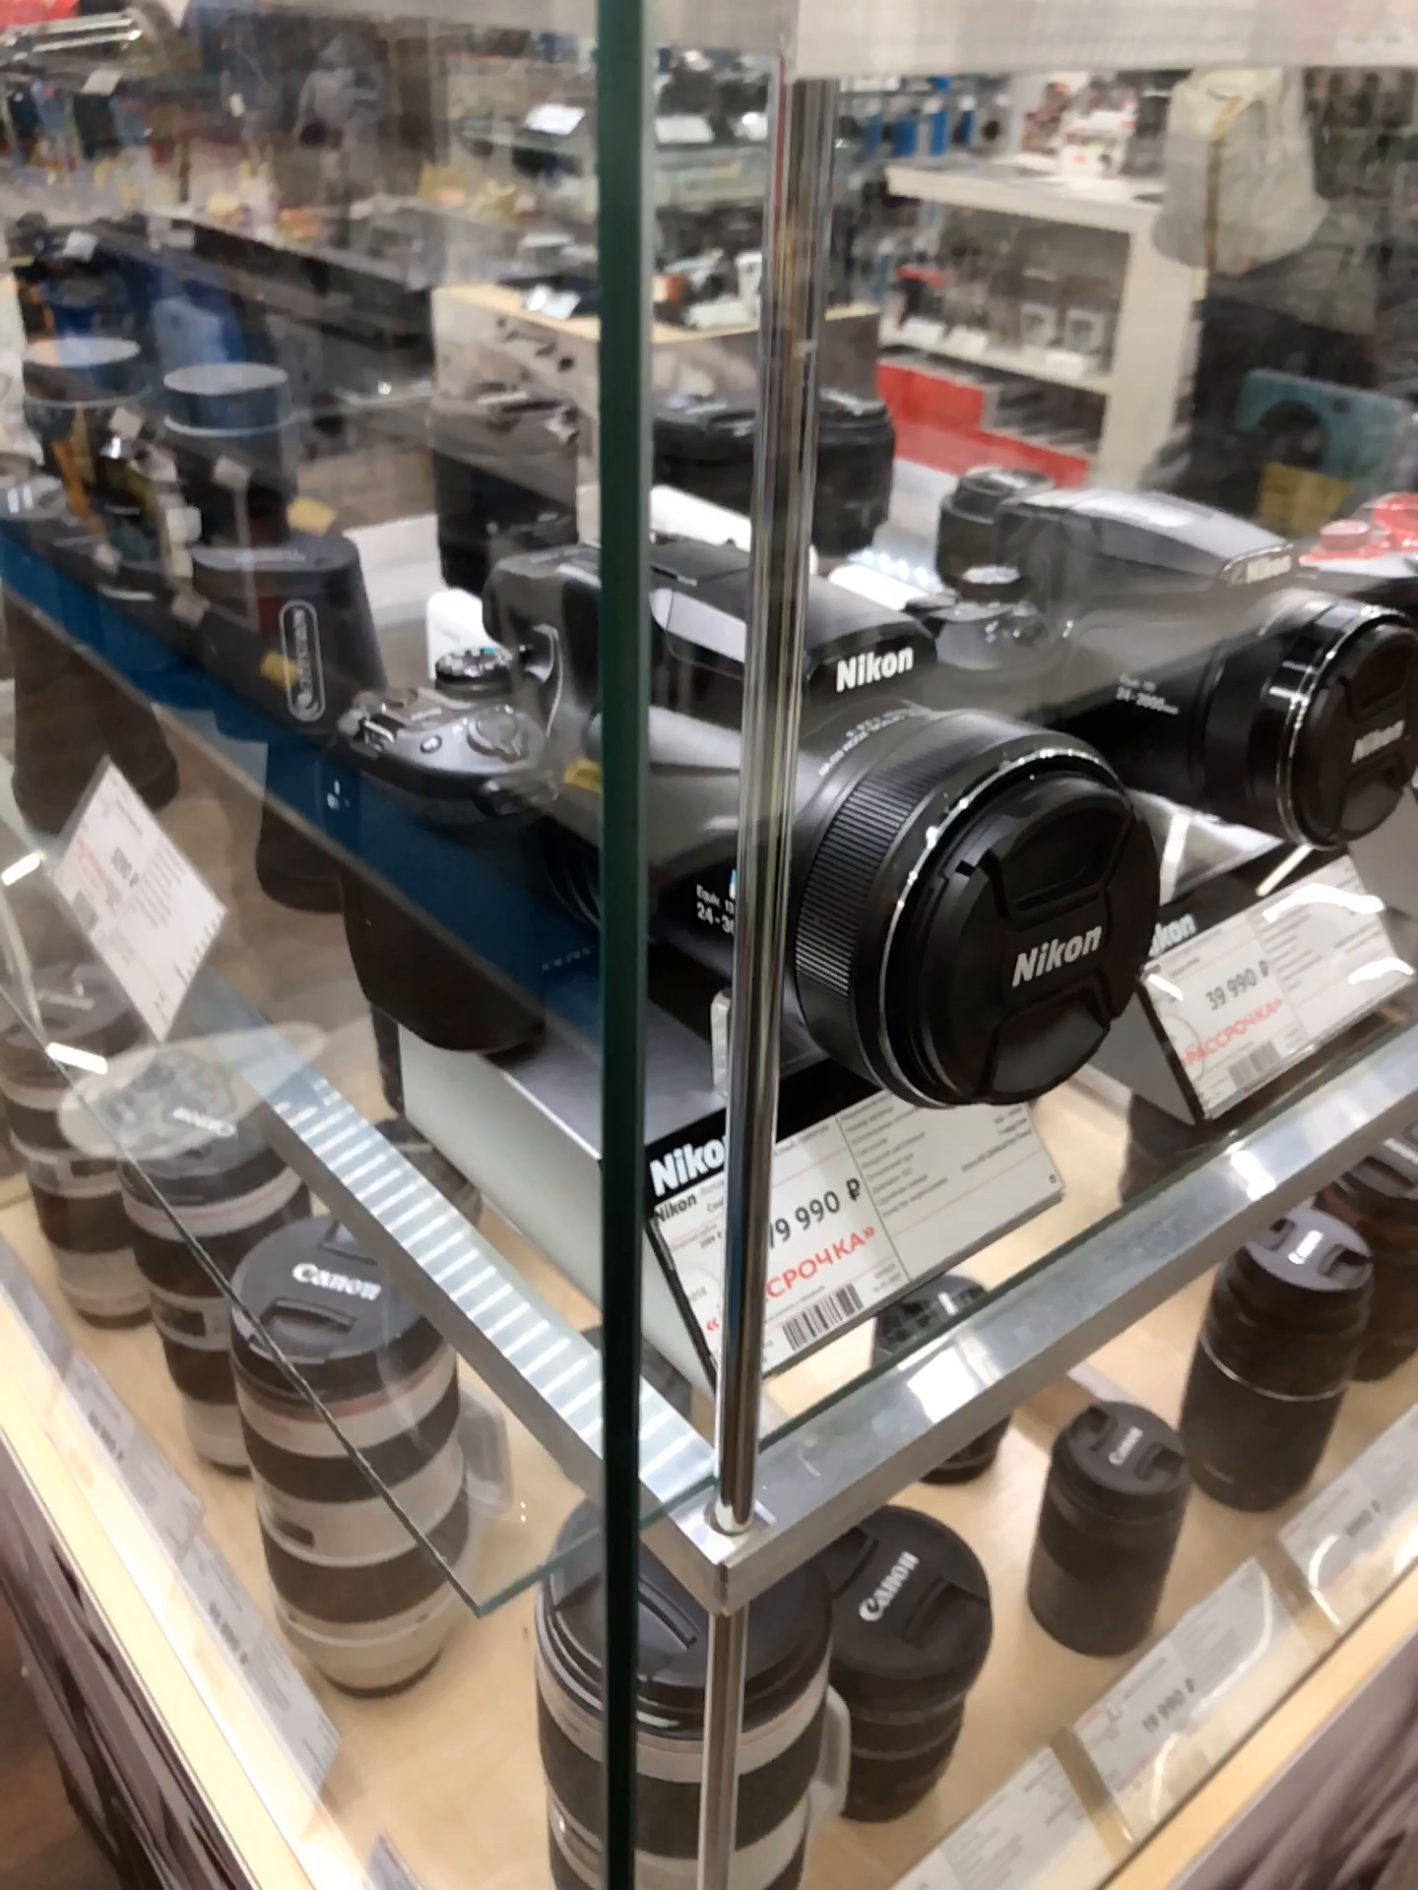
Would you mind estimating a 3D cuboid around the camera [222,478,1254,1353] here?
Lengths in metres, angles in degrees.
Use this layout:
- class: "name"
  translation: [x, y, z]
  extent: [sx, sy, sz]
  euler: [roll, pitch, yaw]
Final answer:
- class: "camera"
  translation: [-0.002, -0.030, 0.412]
  extent: [0.160, 0.113, 0.201]
  euler: [-21, 39, -33]
